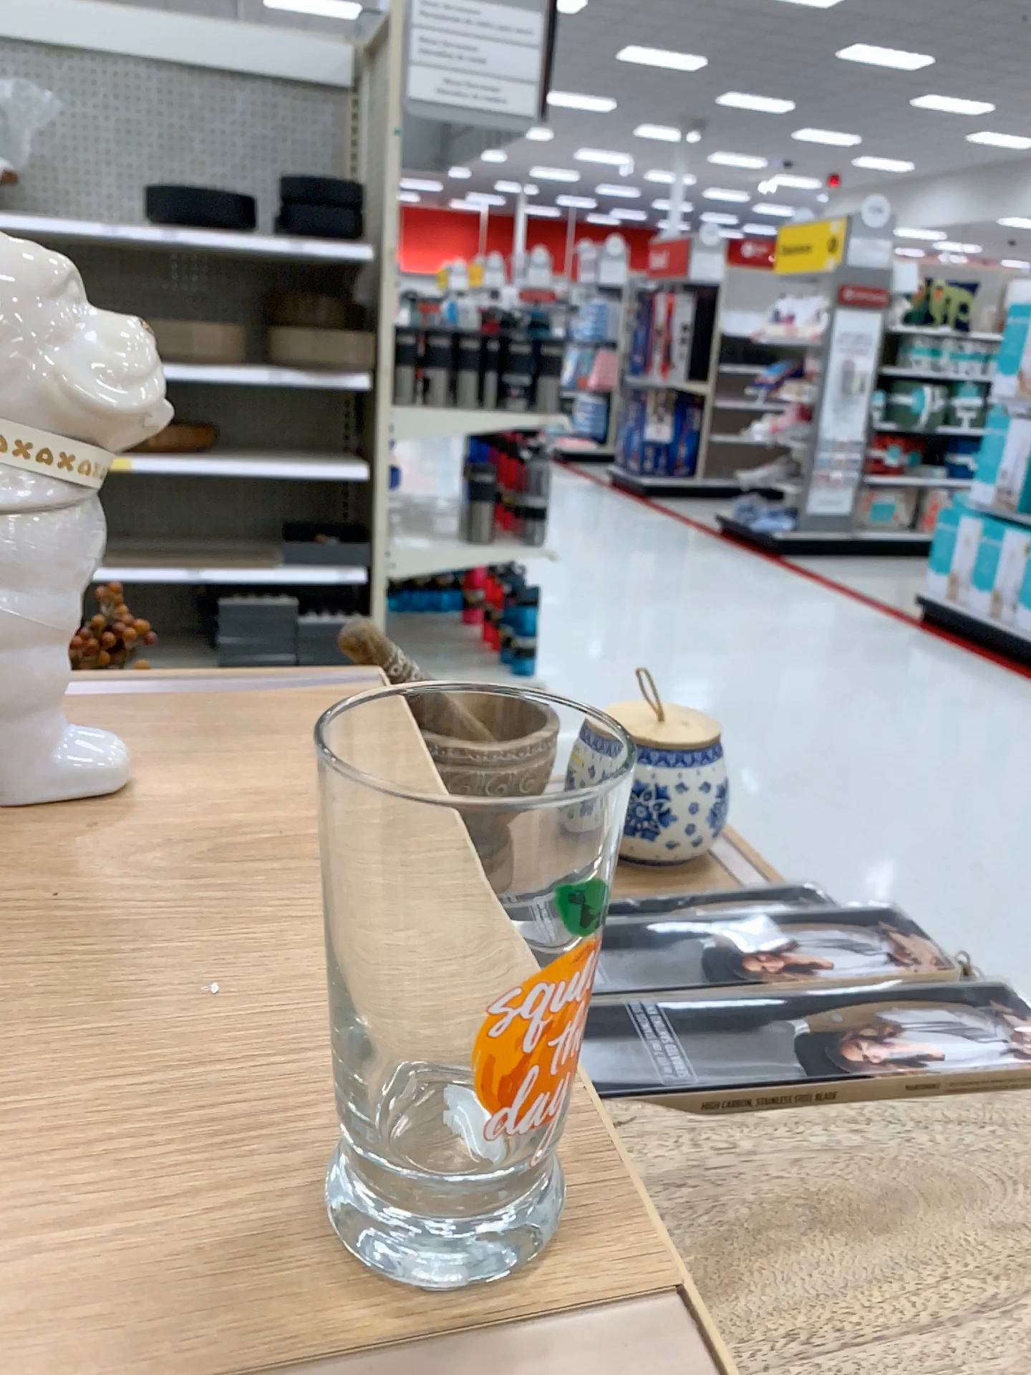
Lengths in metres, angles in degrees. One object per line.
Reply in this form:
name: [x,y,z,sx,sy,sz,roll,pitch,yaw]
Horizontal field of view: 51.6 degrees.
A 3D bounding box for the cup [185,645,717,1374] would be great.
cup: [-0.015,0.064,0.243,0.080,0.120,0.080,4,18,-1]
